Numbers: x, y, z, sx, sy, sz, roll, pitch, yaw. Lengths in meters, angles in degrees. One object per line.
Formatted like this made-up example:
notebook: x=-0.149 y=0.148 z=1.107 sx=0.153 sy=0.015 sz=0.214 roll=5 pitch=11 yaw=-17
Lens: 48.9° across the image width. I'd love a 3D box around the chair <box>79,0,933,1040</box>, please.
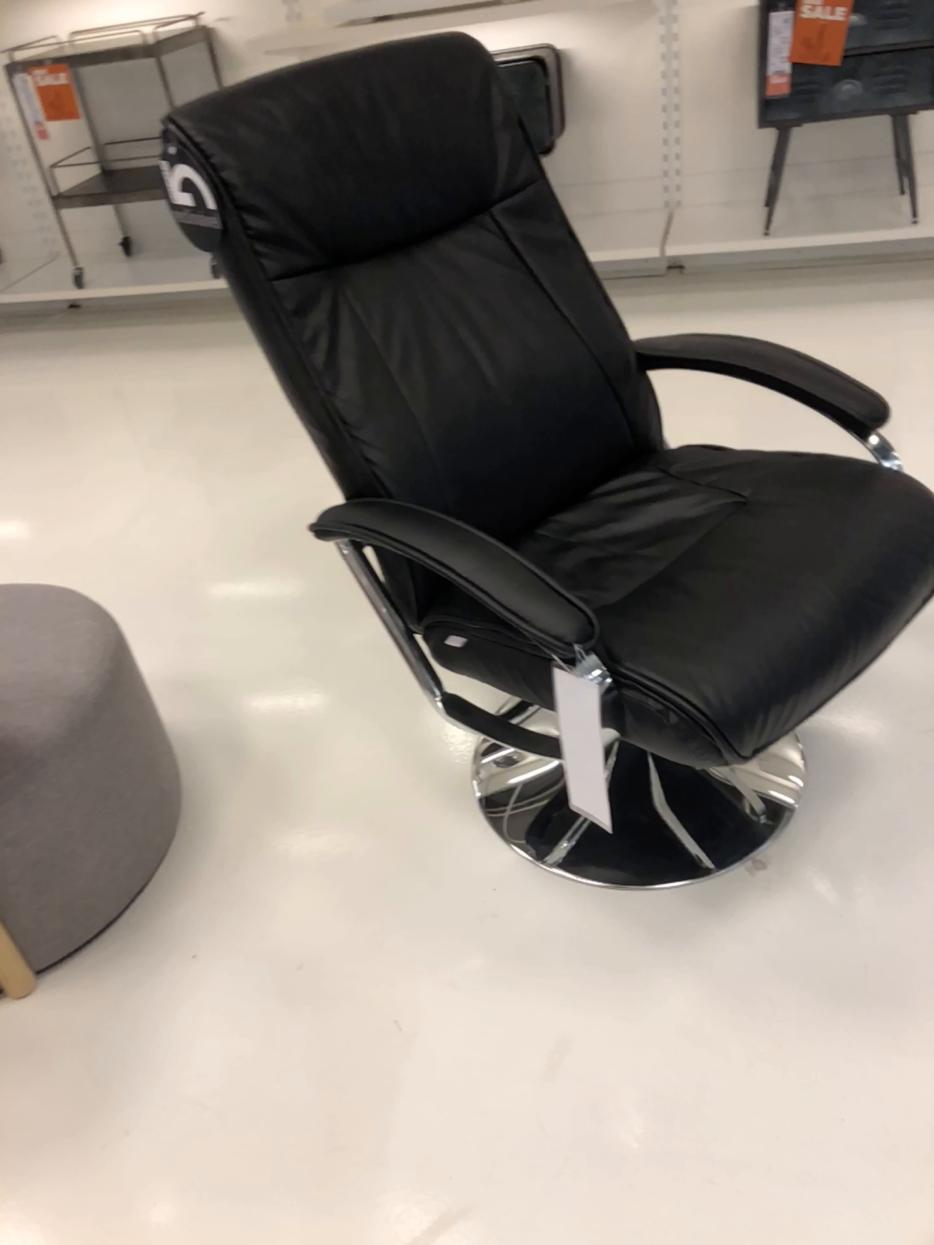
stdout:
chair: x=0.167 y=-0.222 z=1.436 sx=0.723 sy=1.130 sz=0.753 roll=22 pitch=45 yaw=38
